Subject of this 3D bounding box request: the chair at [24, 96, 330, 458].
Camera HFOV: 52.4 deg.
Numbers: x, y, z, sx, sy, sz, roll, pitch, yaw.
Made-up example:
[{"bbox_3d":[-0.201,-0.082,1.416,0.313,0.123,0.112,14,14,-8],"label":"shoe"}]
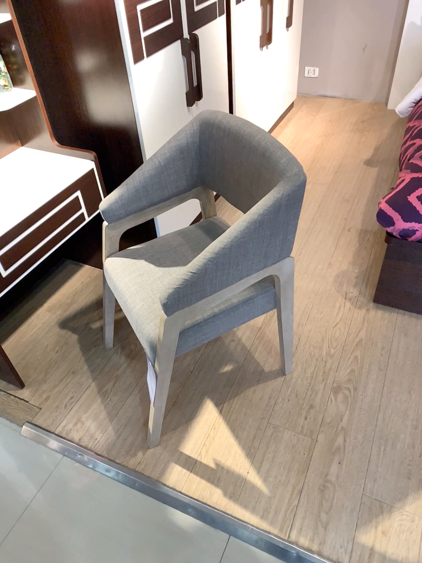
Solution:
[{"bbox_3d":[-0.094,-0.021,1.324,0.580,0.797,0.562,-22,44,-18],"label":"chair"}]
